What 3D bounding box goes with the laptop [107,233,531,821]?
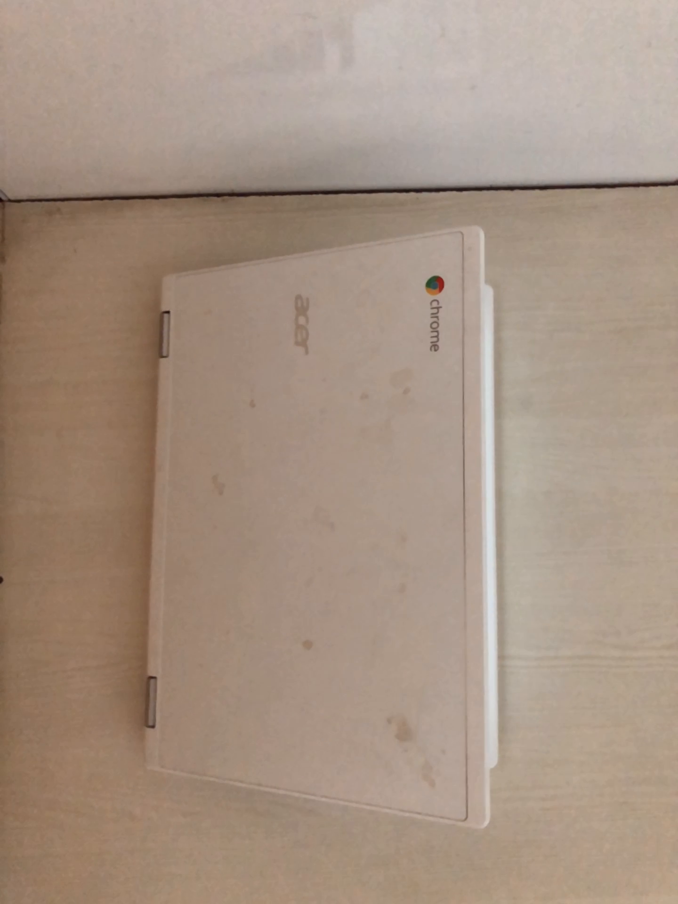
[{"bbox_3d":[-0.008,0.035,0.413,0.200,0.093,0.283,0,84,2],"label":"laptop"}]
